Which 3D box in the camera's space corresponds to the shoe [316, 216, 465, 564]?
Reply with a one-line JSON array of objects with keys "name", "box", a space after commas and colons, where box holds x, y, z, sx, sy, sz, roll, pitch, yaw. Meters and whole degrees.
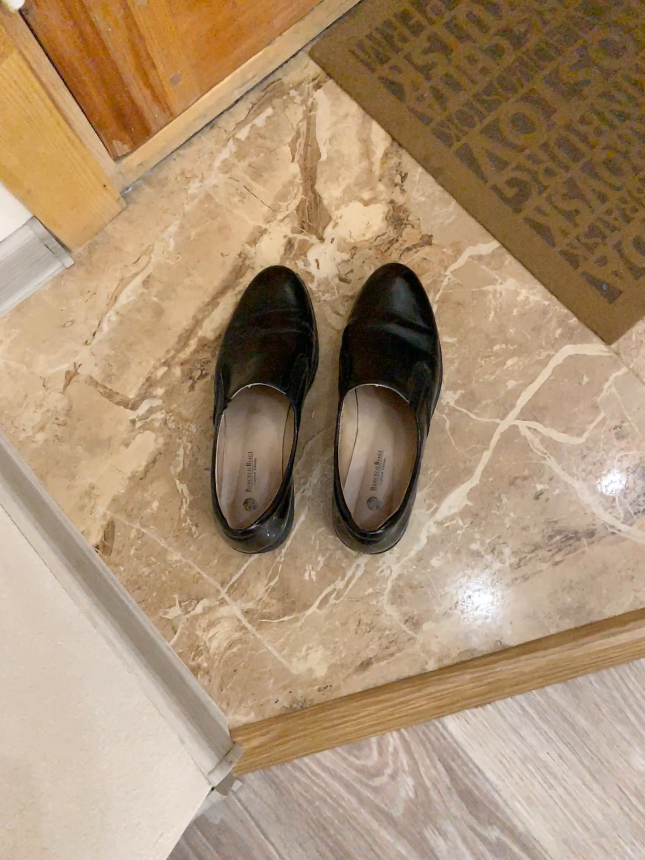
[{"name": "shoe", "box": [0.056, -0.028, 0.542, 0.090, 0.100, 0.260, 5, 80, 4]}]

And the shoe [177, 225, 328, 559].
[{"name": "shoe", "box": [-0.051, -0.027, 0.559, 0.090, 0.100, 0.260, 3, 80, 4]}]
